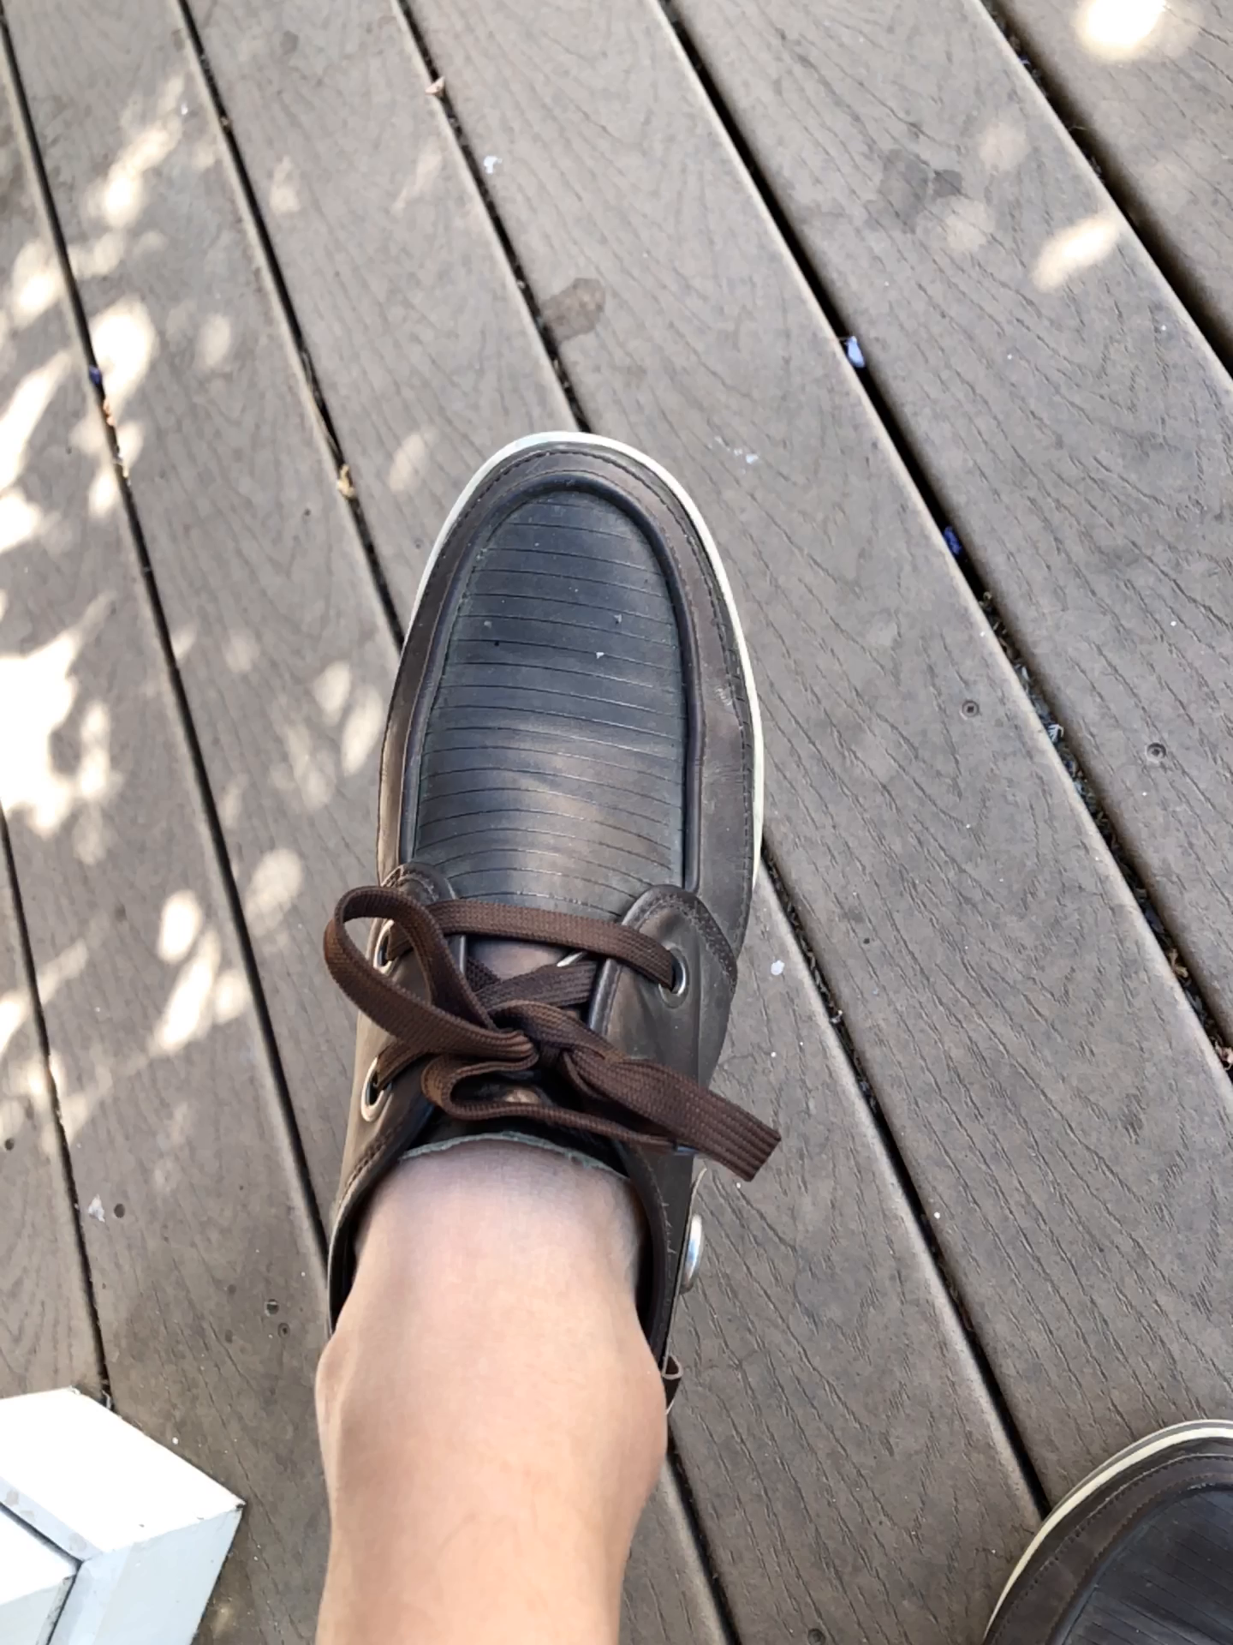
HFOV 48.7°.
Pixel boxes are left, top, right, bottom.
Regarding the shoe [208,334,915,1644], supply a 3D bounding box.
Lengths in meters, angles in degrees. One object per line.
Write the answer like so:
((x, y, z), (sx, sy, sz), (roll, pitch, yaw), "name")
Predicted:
((-0.009, 0.048, 0.341), (0.118, 0.104, 0.295), (6, 89, 3), "shoe")
